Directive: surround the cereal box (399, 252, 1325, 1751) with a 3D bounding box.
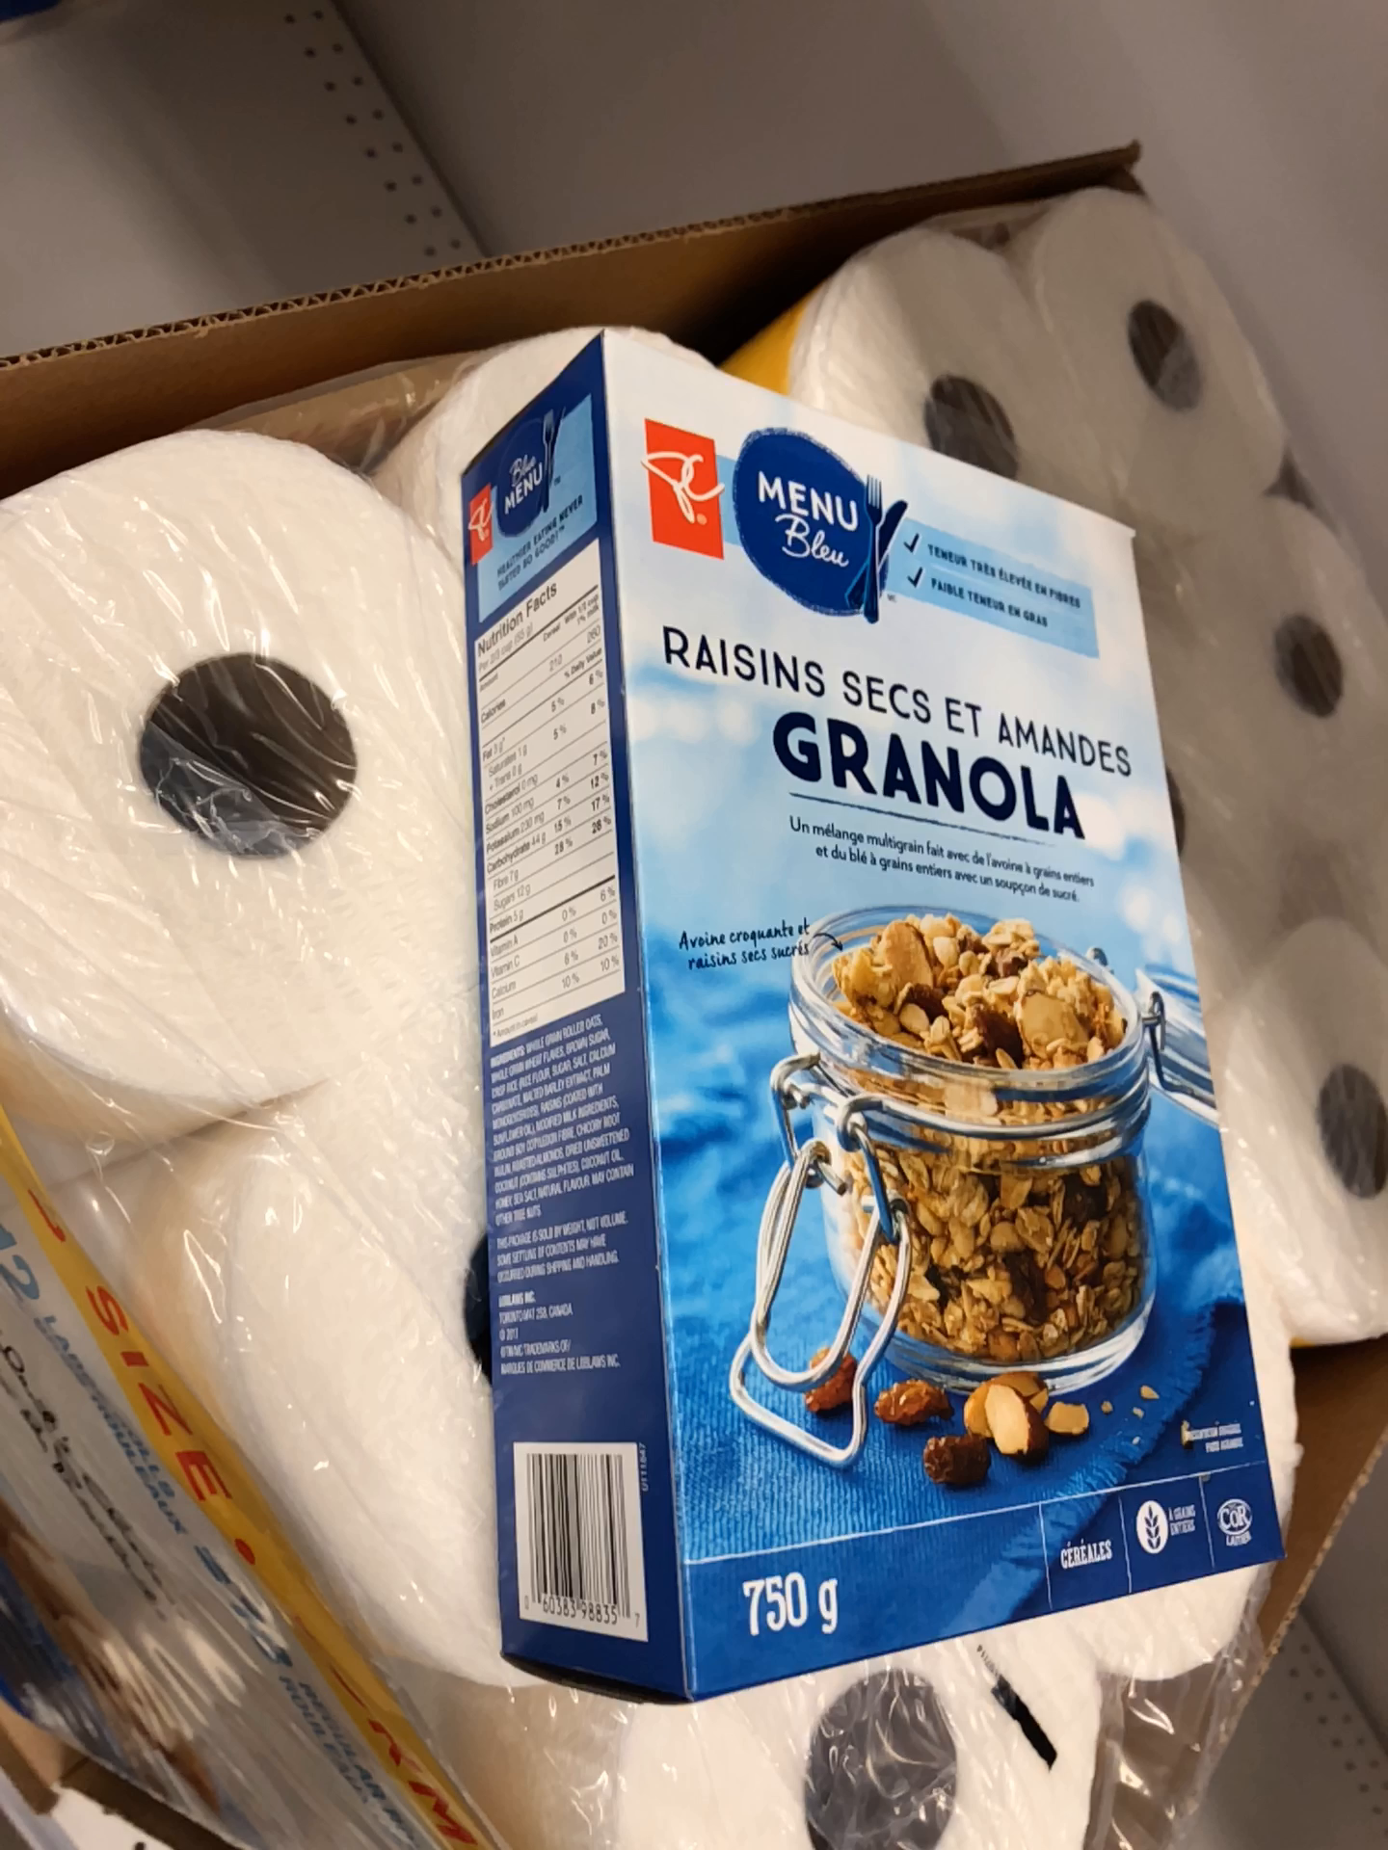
[{"bbox_3d":[0.033,0.013,0.324,0.171,0.060,0.250,7,70,-35],"label":"cereal box"}]
